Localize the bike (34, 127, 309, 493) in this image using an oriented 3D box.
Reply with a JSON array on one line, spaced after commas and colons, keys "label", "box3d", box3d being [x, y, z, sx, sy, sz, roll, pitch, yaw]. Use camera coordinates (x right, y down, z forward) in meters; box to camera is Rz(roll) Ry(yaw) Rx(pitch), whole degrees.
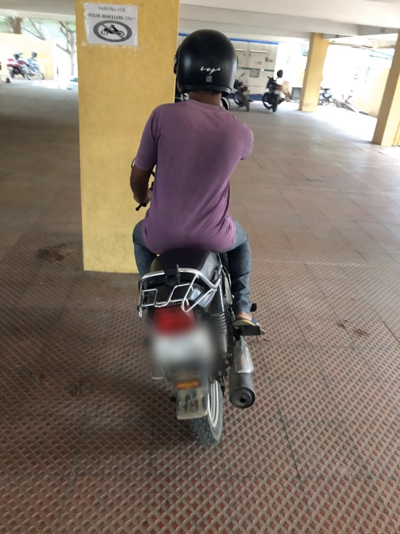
[{"label": "bike", "box3d": [-0.182, 0.029, 2.184, 0.765, 1.195, 1.551, 3, 23, -5]}]
